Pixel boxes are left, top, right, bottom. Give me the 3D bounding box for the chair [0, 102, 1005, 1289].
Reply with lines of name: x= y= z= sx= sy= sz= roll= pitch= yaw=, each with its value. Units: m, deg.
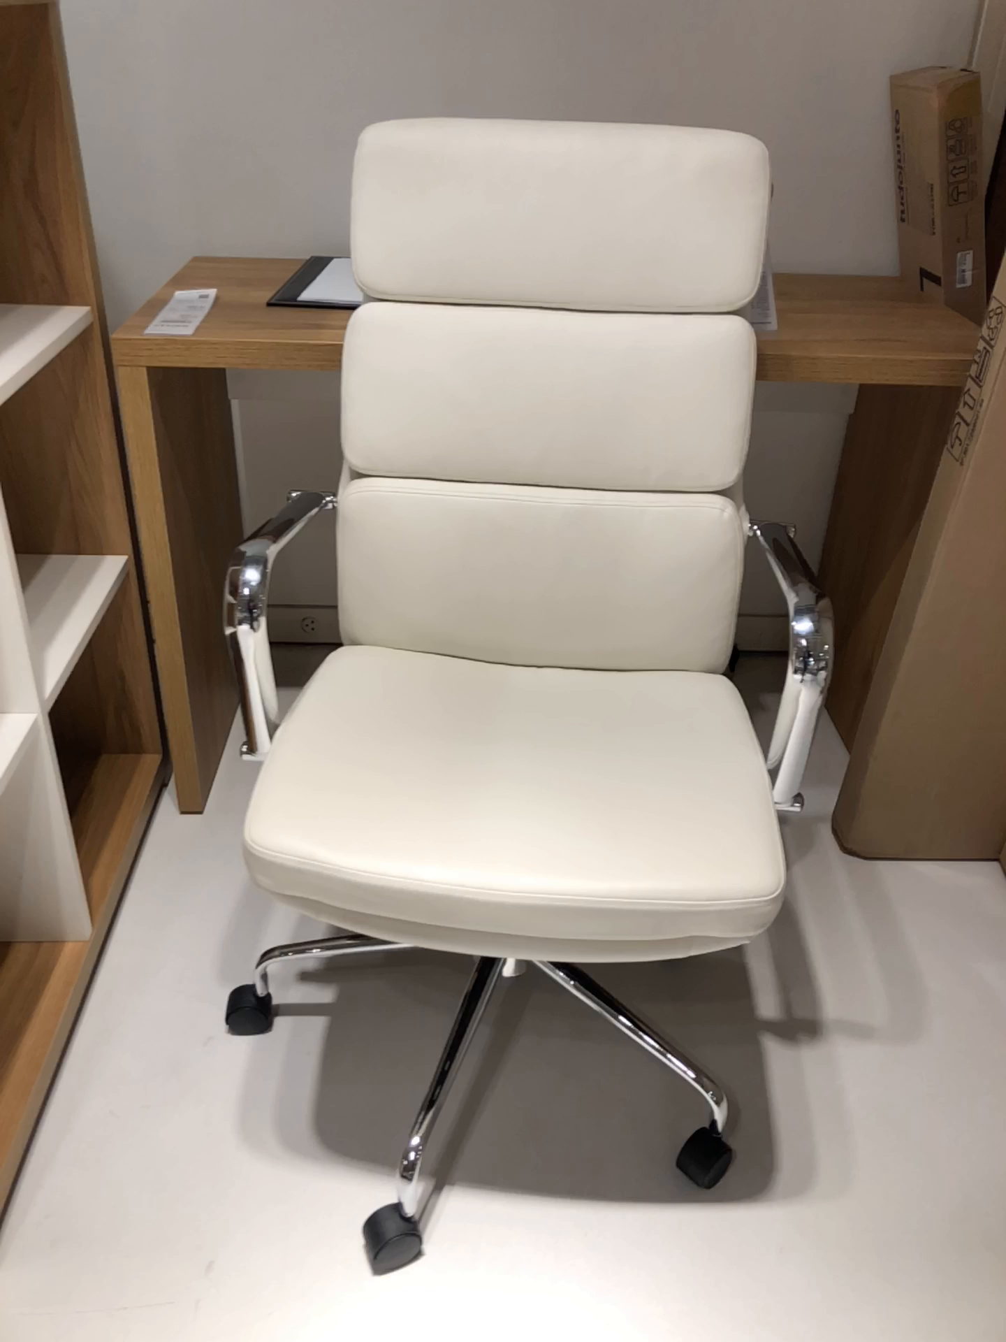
chair: x=-0.019 y=0.012 z=1.176 sx=0.640 sy=1.032 sz=0.685 roll=2 pitch=31 yaw=0
